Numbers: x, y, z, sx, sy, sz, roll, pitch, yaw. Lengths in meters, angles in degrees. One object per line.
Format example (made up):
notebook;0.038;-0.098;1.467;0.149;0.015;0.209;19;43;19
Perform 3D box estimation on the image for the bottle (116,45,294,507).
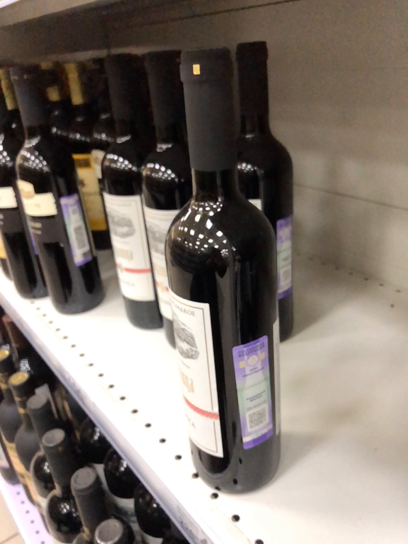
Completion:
bottle;0.009;0.016;0.321;0.080;0.308;0.080;-5;26;2
